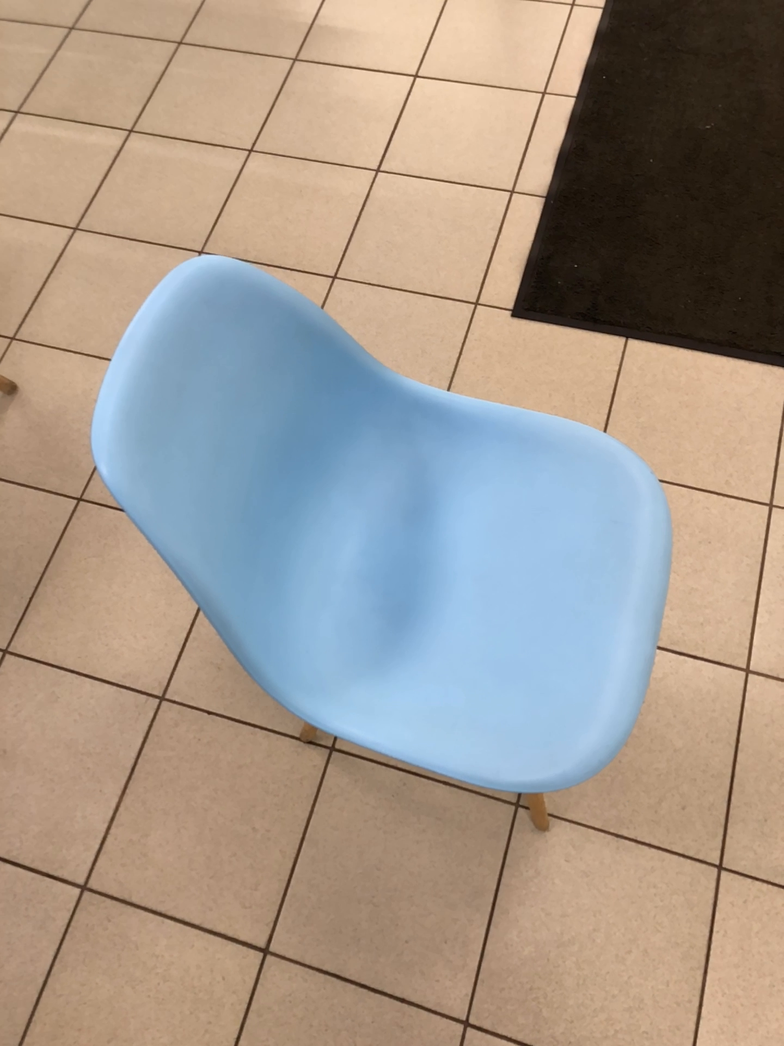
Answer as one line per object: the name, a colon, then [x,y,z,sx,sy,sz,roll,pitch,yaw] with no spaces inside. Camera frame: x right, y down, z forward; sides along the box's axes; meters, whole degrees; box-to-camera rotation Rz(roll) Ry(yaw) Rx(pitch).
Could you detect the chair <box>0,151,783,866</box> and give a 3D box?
chair: [0.047,0.069,1.050,0.570,0.778,0.471,14,67,11]
